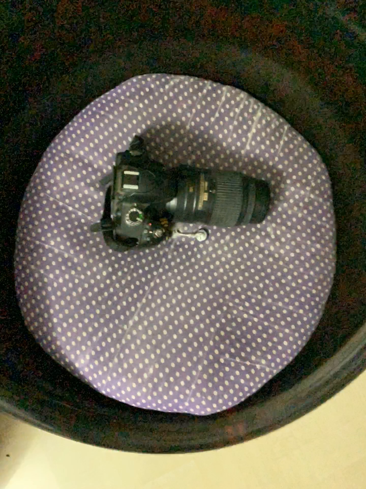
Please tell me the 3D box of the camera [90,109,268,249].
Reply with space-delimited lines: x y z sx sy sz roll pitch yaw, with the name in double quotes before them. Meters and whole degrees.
"camera" -0.007 -0.073 0.471 0.200 0.100 0.140 2 84 -8
